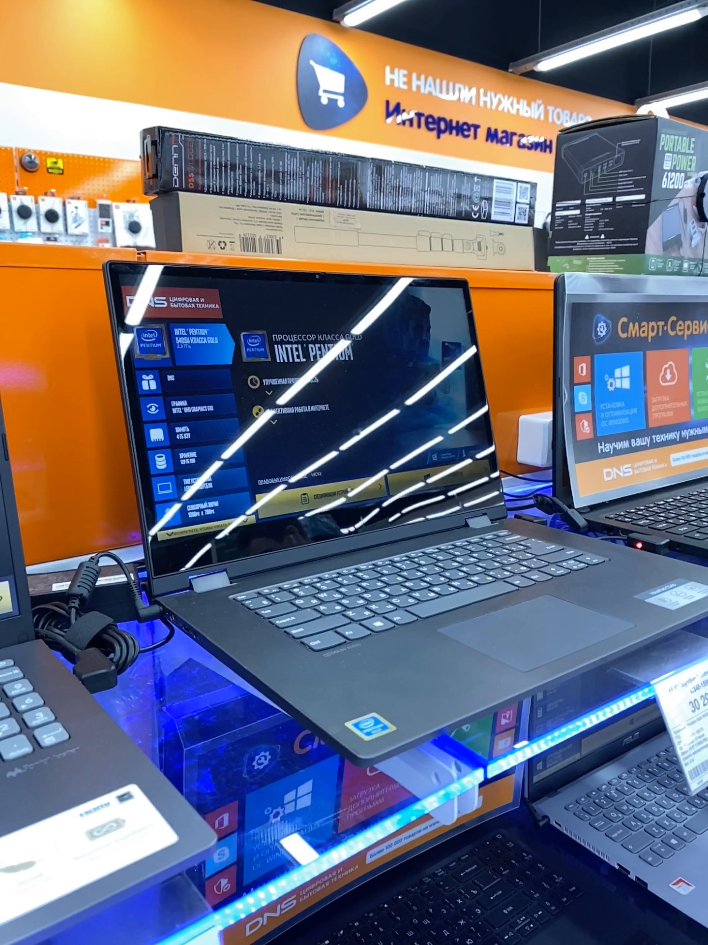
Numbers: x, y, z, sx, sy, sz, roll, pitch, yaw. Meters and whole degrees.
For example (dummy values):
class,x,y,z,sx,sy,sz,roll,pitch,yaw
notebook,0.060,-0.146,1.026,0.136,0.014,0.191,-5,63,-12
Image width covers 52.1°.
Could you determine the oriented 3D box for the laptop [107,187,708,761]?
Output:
class,x,y,z,sx,sy,sz,roll,pitch,yaw
laptop,0.062,-0.035,0.523,0.362,0.232,0.318,-8,13,-37
